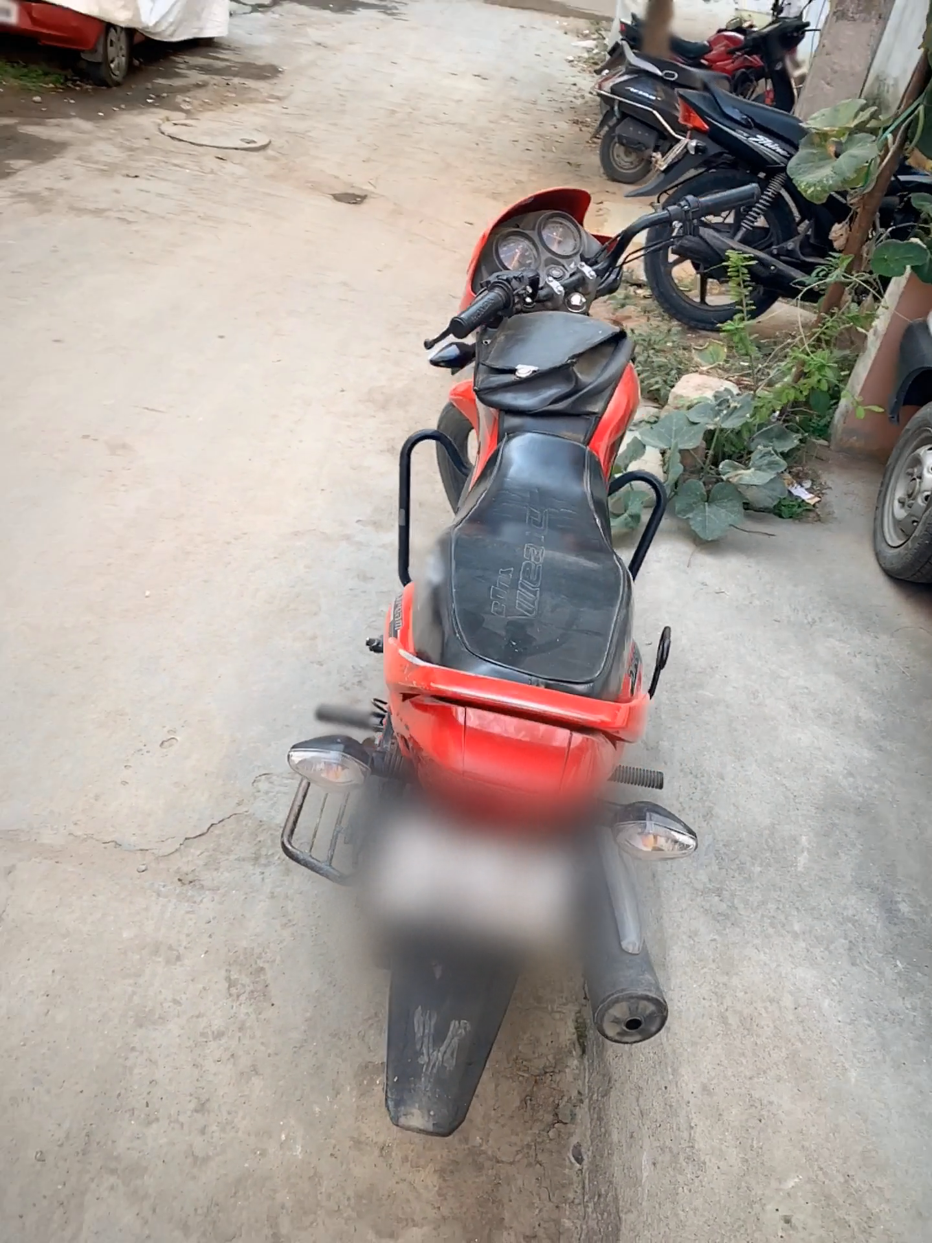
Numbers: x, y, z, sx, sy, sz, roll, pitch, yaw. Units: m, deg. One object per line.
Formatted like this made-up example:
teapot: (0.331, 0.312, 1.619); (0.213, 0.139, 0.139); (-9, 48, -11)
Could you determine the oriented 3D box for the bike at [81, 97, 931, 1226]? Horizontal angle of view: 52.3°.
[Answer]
bike: (0.012, -0.126, 1.710); (0.758, 1.092, 1.715); (7, 37, -5)
